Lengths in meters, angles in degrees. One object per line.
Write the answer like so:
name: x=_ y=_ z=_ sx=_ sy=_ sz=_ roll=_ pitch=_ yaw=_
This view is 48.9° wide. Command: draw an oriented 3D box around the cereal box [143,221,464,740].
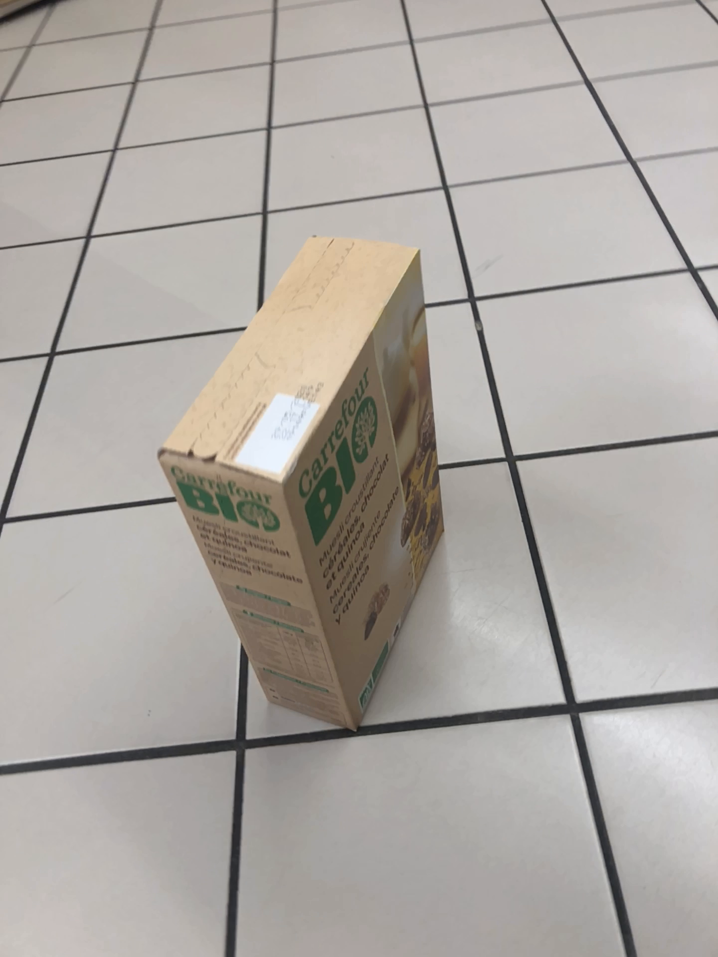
cereal box: x=-0.006 y=0.009 z=0.437 sx=0.070 sy=0.229 sz=0.171 roll=13 pitch=53 yaw=20
